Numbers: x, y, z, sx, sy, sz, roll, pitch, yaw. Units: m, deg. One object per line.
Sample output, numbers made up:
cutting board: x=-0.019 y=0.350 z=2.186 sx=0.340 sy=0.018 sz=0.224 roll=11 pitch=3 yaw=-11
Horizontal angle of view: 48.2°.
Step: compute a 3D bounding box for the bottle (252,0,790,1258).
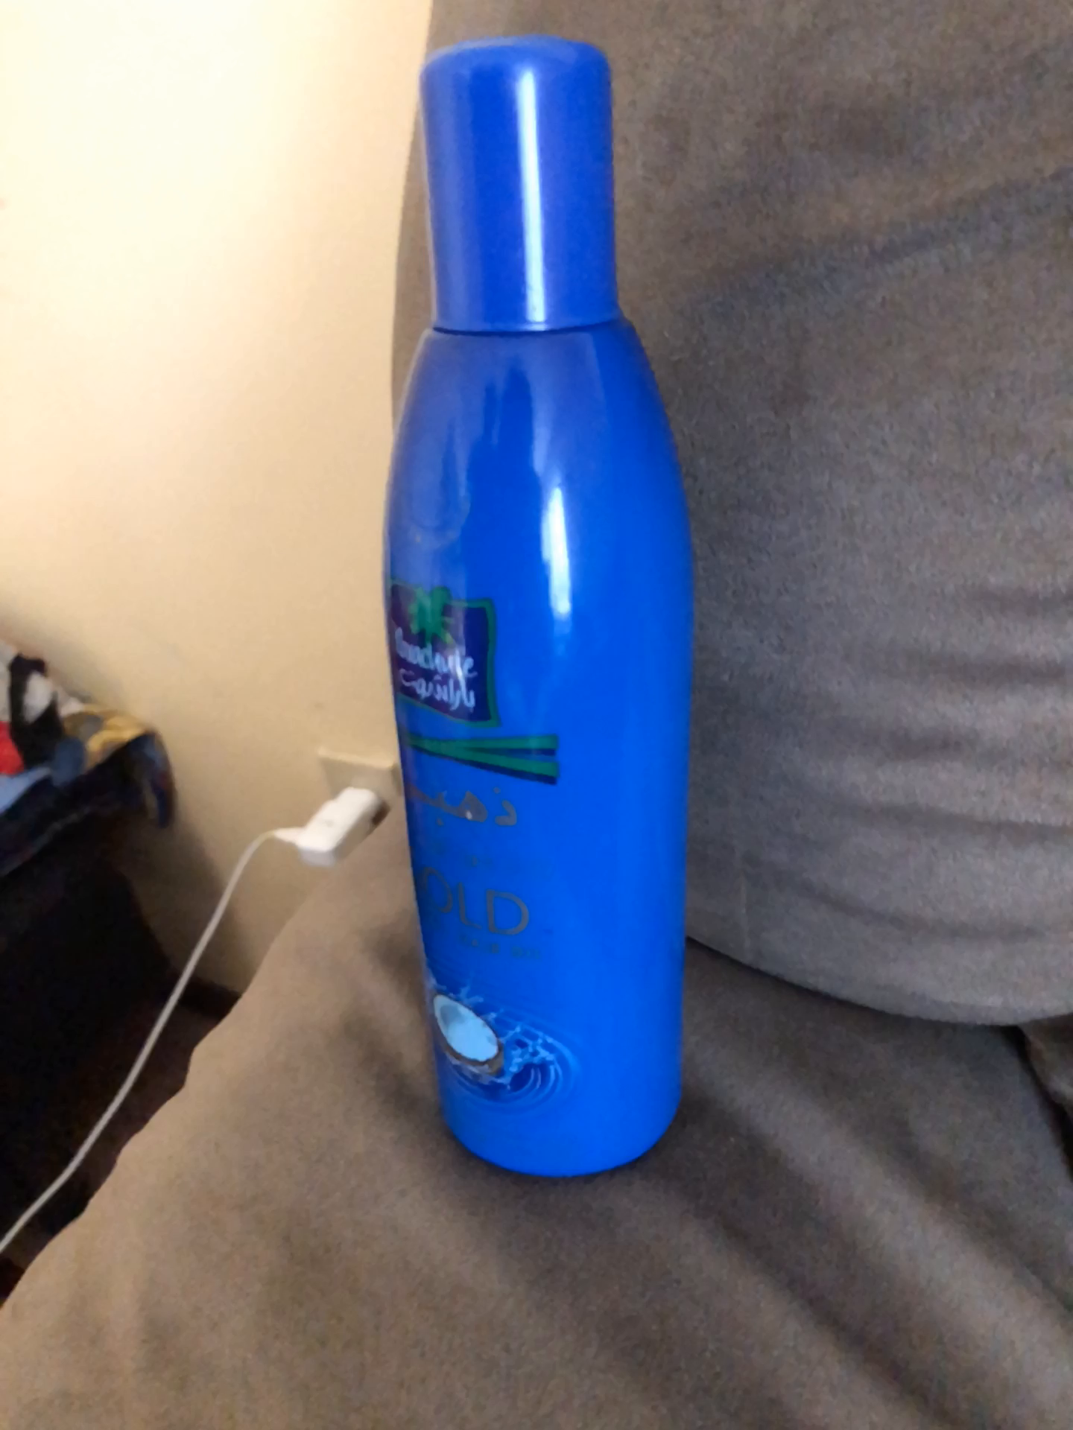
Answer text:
bottle: x=0.002 y=-0.008 z=0.193 sx=0.050 sy=0.180 sz=0.050 roll=-2 pitch=24 yaw=1
